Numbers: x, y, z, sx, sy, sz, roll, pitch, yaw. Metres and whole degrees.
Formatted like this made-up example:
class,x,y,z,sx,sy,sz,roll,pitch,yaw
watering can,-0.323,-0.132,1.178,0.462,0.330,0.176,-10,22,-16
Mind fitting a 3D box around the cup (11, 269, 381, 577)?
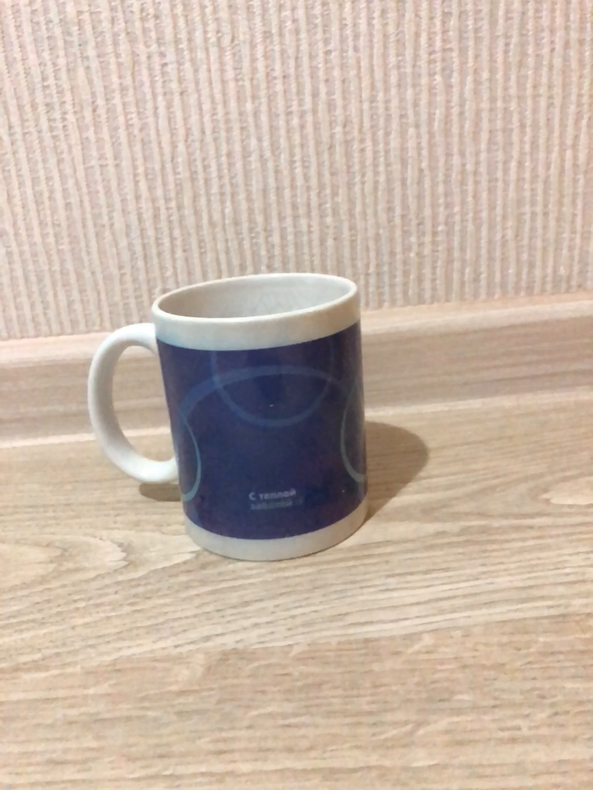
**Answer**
class,x,y,z,sx,sy,sz,roll,pitch,yaw
cup,-0.031,0.005,0.287,0.122,0.099,0.094,1,20,14
